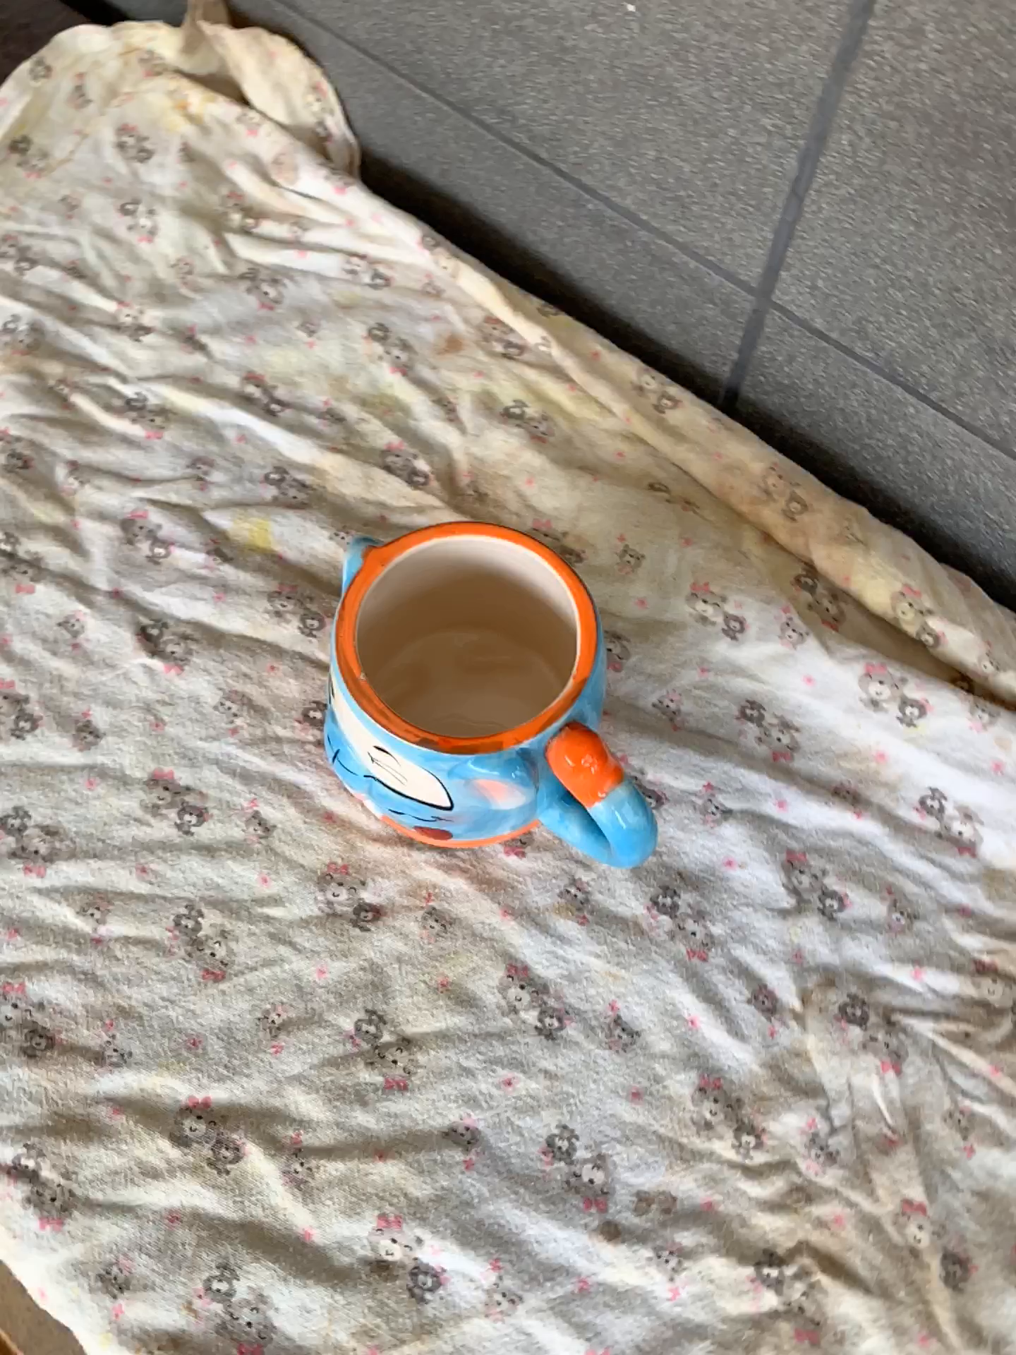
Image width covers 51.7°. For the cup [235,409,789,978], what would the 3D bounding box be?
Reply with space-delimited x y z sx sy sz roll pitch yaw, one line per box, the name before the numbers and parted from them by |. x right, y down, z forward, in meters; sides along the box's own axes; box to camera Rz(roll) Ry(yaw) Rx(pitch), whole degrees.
cup | -0.001 0.007 0.307 0.090 0.090 0.110 -40 72 -19
